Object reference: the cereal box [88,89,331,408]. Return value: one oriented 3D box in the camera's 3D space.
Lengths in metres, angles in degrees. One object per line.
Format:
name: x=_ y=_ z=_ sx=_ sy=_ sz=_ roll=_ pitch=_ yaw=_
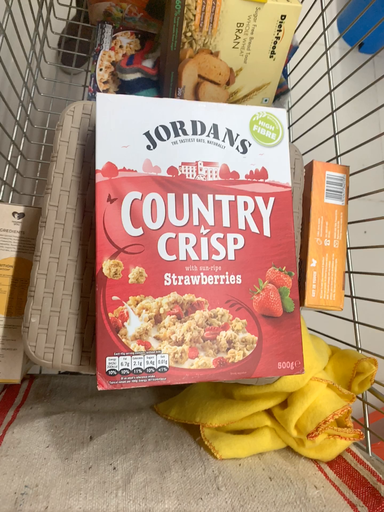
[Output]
cereal box: x=0.006 y=-0.008 z=0.334 sx=0.180 sy=0.070 sz=0.230 roll=0 pitch=81 yaw=-13
